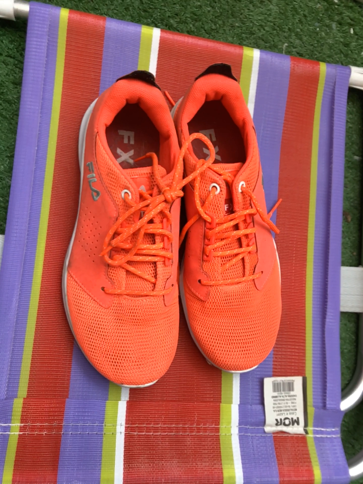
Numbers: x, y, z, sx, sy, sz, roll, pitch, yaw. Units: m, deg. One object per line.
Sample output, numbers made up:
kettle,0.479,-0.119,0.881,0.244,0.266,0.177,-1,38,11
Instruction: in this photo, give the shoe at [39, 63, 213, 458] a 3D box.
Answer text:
shoe,-0.047,0.010,0.297,0.100,0.100,0.230,-1,85,-16

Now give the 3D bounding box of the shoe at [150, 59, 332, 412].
shoe,0.040,-0.008,0.339,0.100,0.090,0.250,-6,86,-10
